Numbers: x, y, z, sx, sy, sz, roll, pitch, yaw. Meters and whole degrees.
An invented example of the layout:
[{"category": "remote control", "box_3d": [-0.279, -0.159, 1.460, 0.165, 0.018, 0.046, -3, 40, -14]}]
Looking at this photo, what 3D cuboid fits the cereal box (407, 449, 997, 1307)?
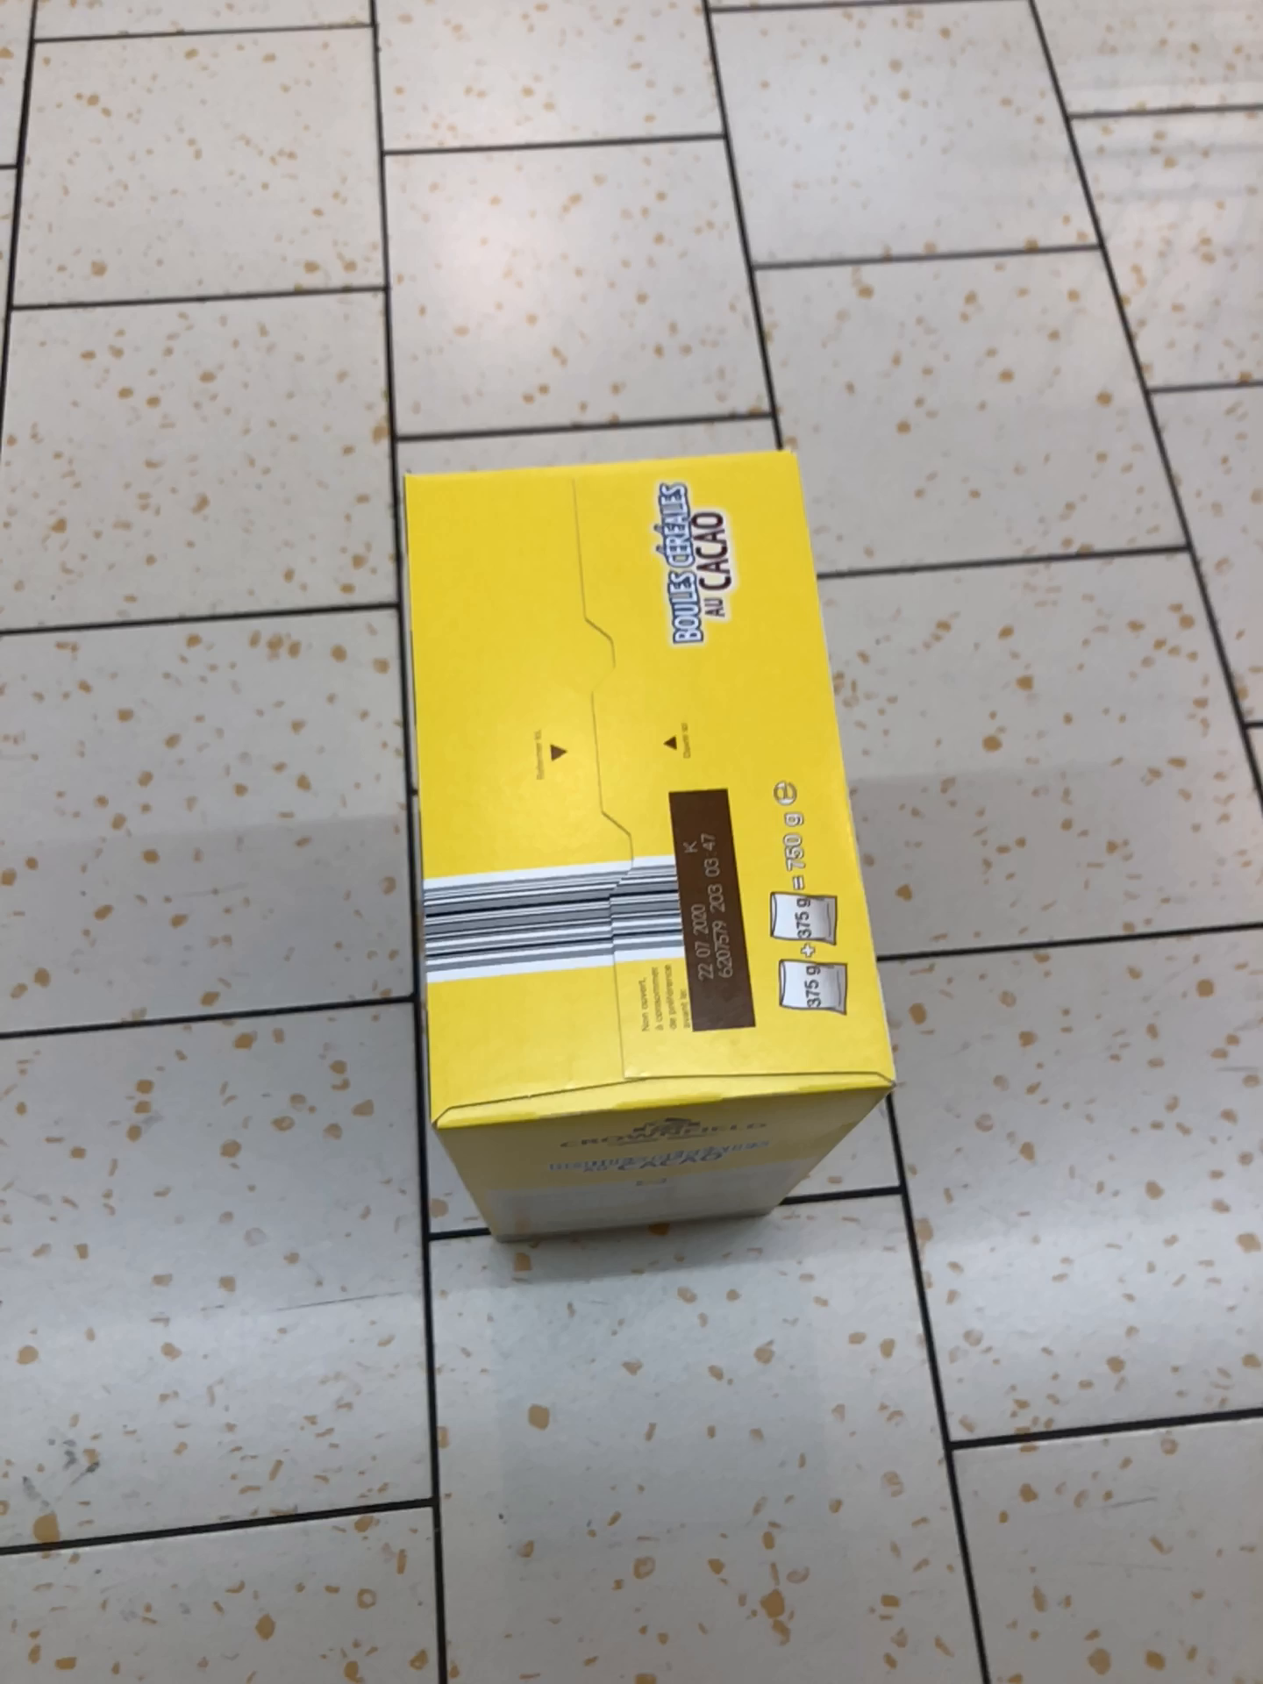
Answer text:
[{"category": "cereal box", "box_3d": [0.008, 0.033, 0.474, 0.130, 0.239, 0.210, -5, 68, -4]}]
